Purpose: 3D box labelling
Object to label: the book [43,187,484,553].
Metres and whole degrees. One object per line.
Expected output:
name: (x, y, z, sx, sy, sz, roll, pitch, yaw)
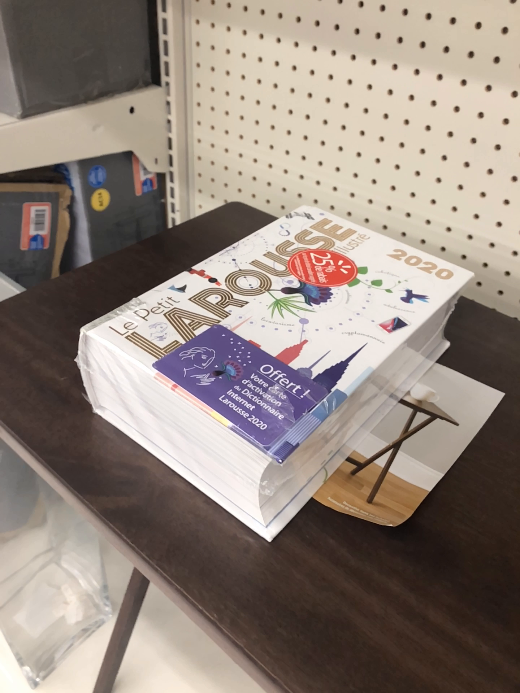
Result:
book: (0.013, -0.013, 0.382, 0.171, 0.069, 0.231, 29, 46, 27)
